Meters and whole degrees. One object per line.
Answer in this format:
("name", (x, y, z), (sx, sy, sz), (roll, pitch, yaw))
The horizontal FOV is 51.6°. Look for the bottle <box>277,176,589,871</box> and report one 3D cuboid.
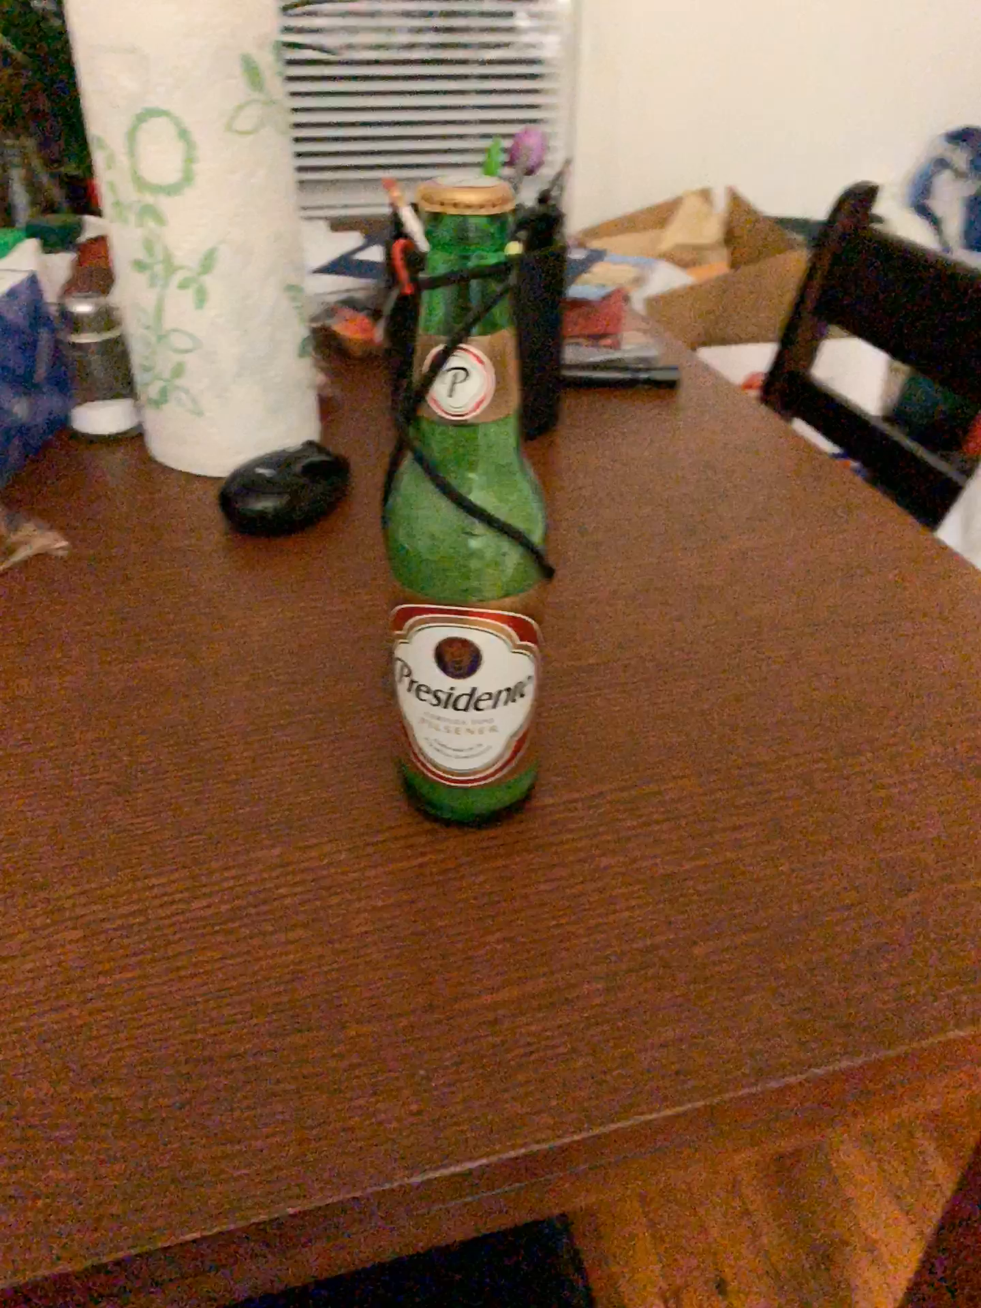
("bottle", (-0.014, -0.036, 0.369), (0.080, 0.239, 0.070), (6, 35, 8))
